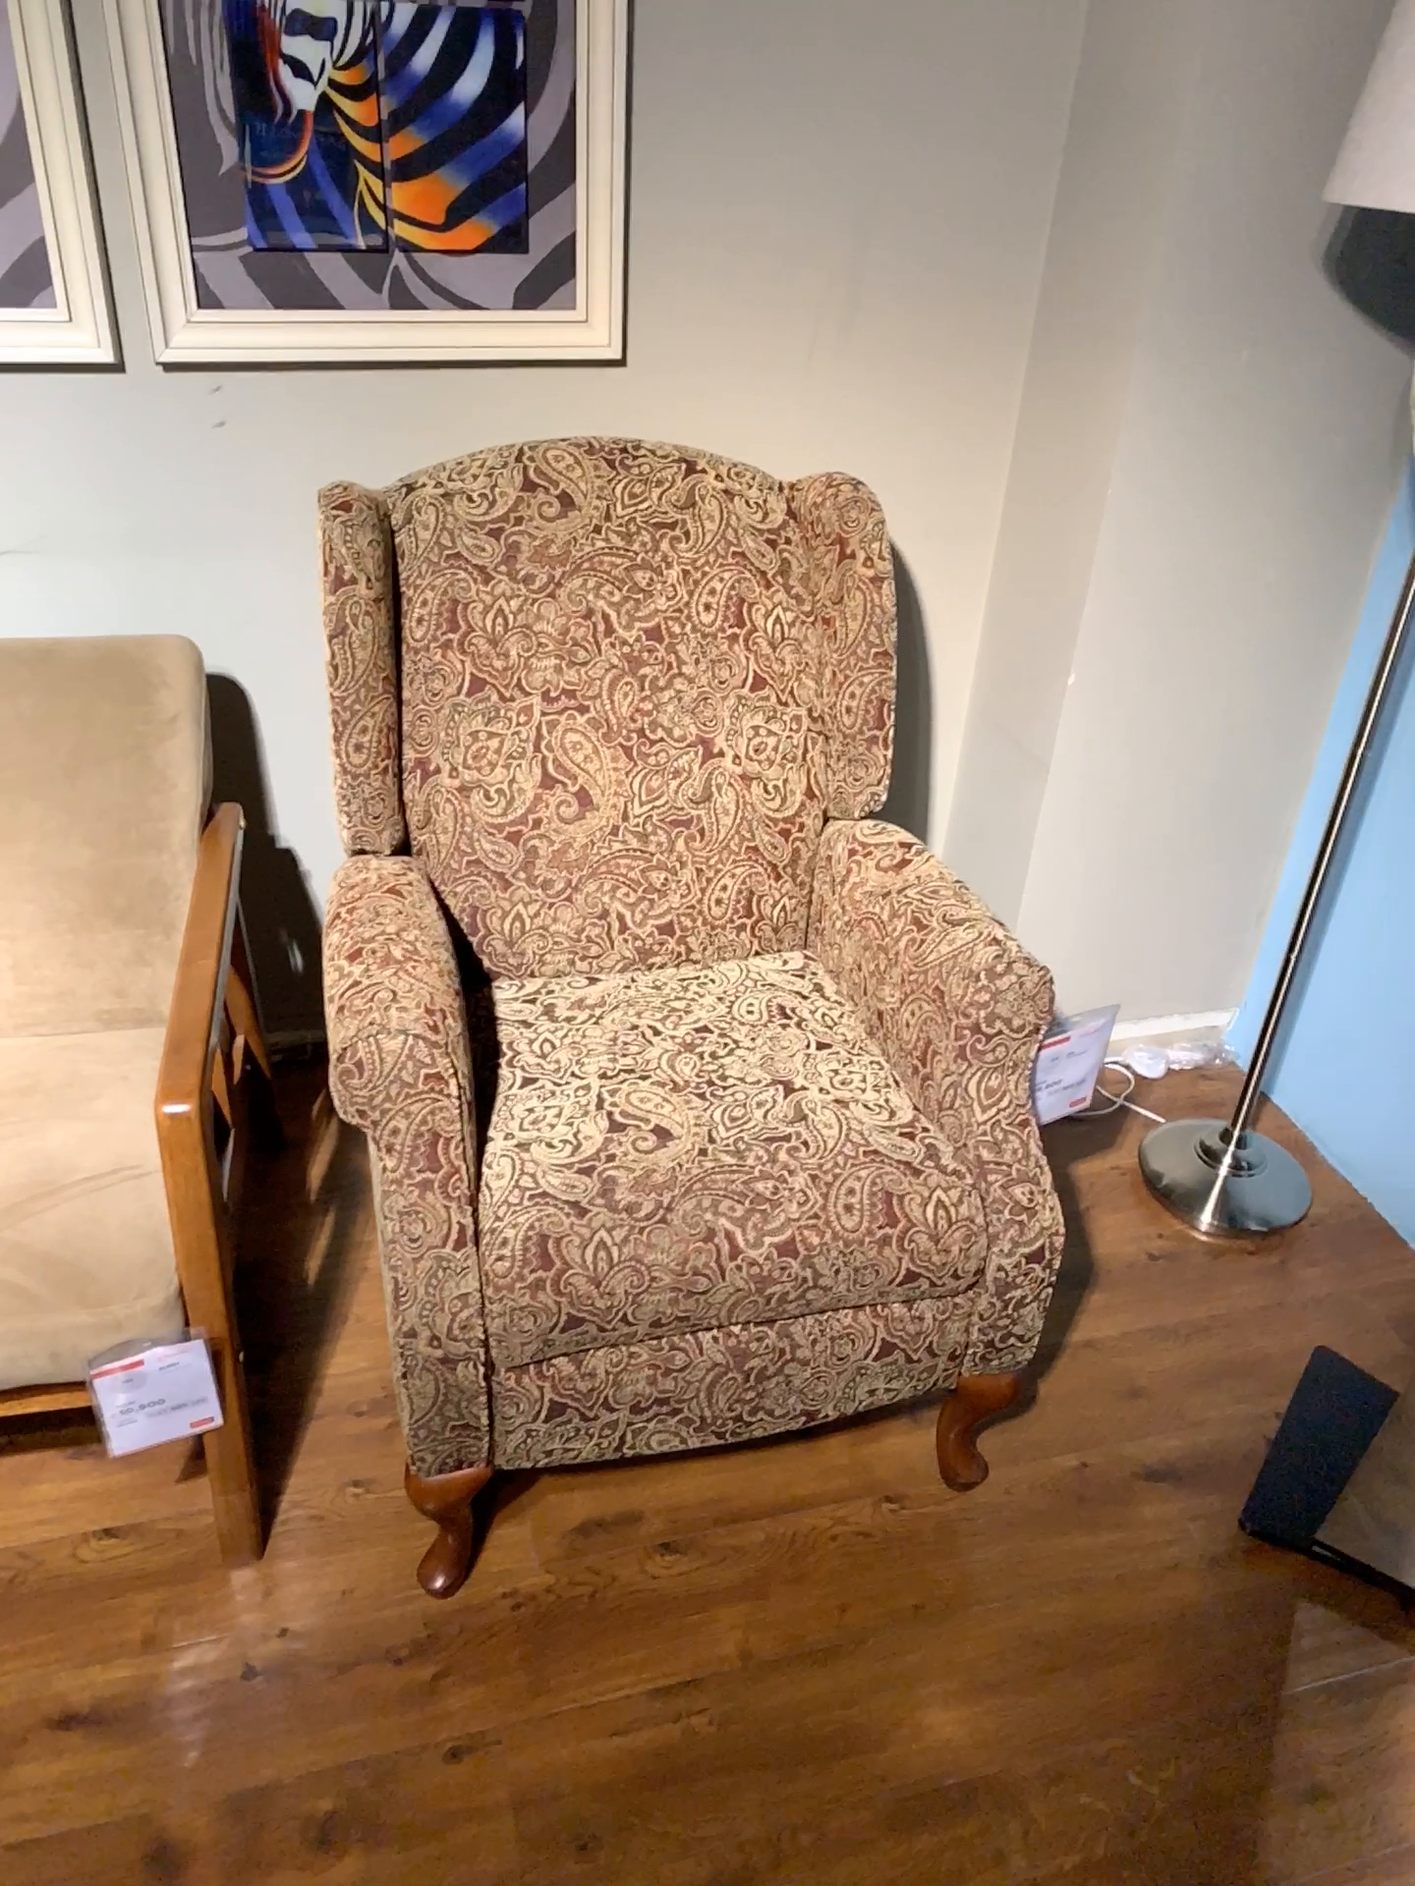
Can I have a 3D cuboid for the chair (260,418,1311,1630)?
[{"bbox_3d":[-0.037,0.023,1.542,0.750,0.956,0.763,-5,33,-14],"label":"chair"}]
